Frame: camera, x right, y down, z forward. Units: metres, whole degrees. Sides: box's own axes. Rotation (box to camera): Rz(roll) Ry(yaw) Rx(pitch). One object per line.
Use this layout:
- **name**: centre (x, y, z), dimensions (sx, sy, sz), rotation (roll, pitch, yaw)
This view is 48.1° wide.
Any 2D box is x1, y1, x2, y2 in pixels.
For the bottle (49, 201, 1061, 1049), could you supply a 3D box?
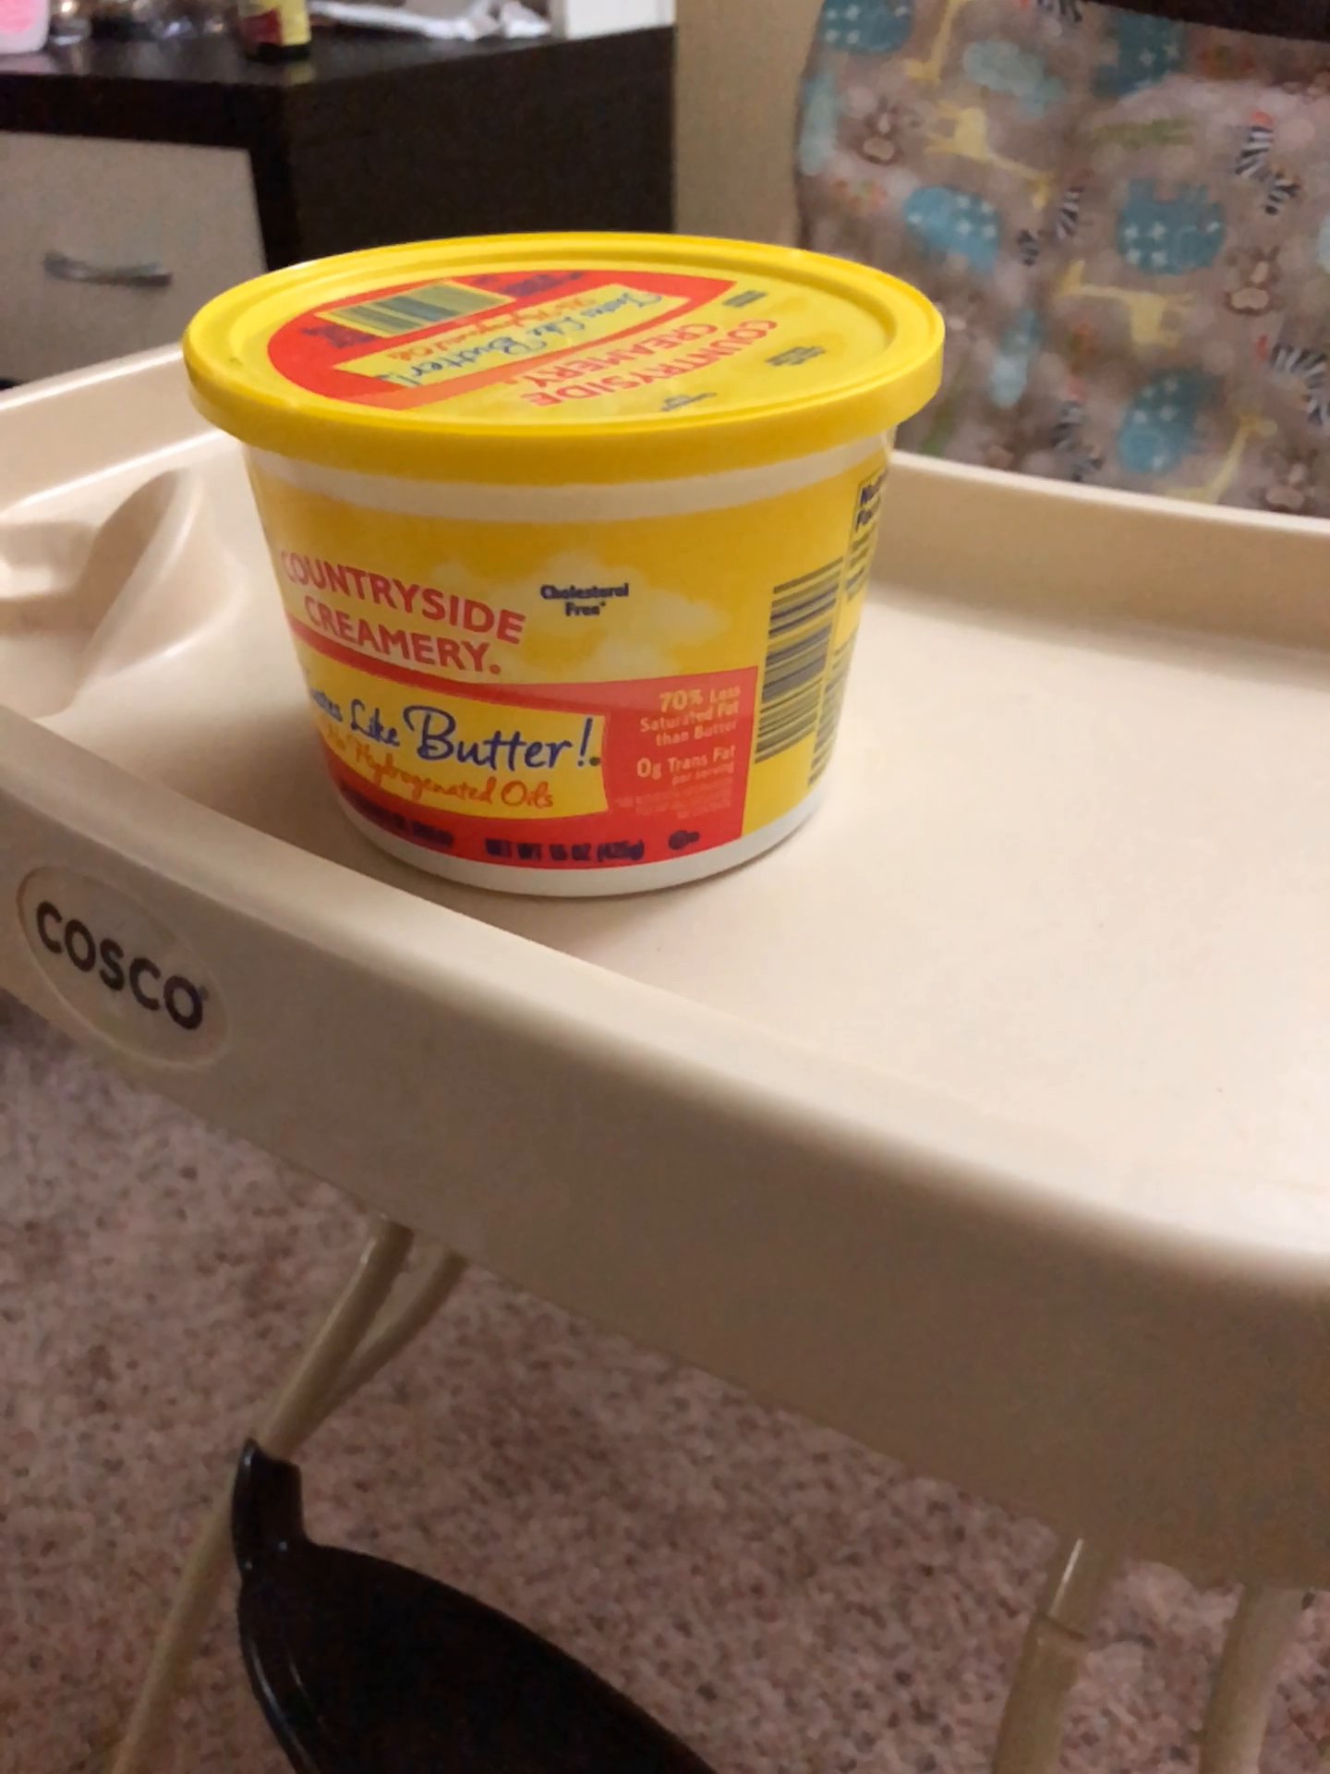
- **bottle**: centre (-0.016, -0.058, 0.266), dimensions (0.120, 0.090, 0.110), rotation (0, 35, 0)
